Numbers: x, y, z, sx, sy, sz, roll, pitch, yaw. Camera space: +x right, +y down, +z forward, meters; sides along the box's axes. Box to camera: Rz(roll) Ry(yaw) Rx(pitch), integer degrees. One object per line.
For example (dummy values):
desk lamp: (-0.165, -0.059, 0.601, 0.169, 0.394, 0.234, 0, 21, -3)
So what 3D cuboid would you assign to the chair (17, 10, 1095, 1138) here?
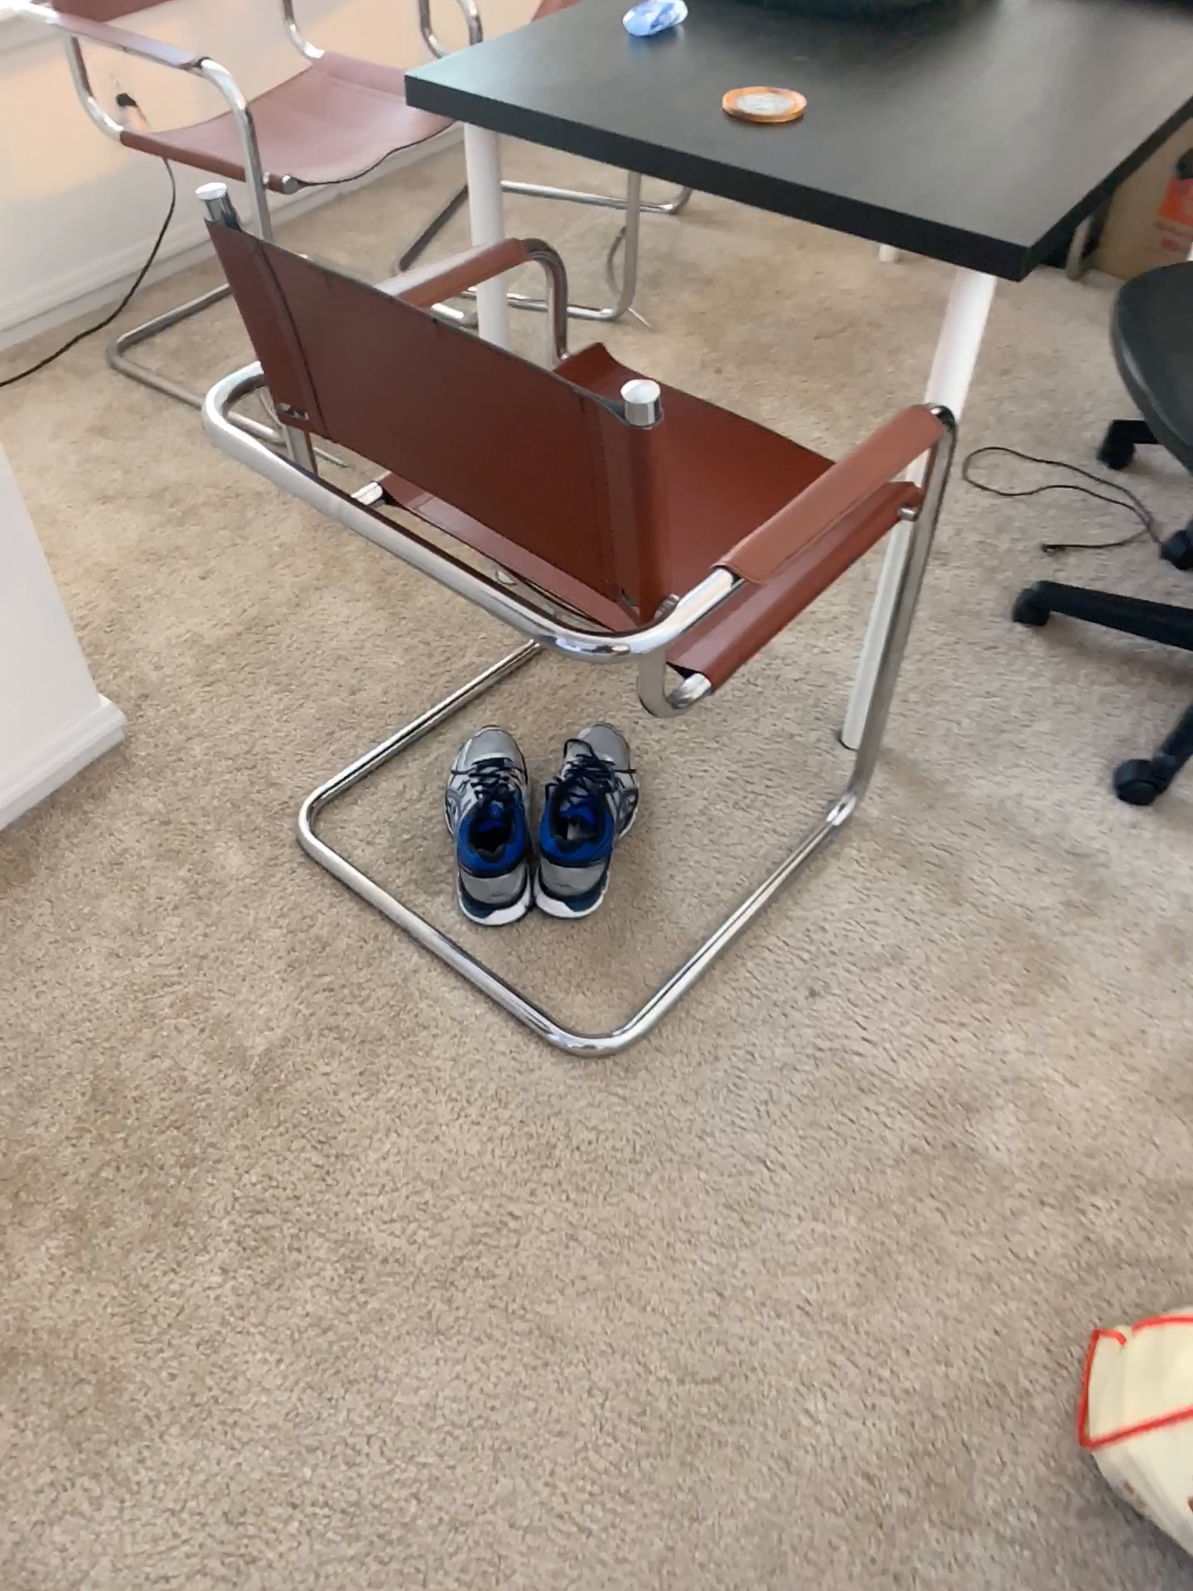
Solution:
chair: (-0.031, -0.233, 1.286, 0.622, 0.806, 0.621, 33, 55, 25)
